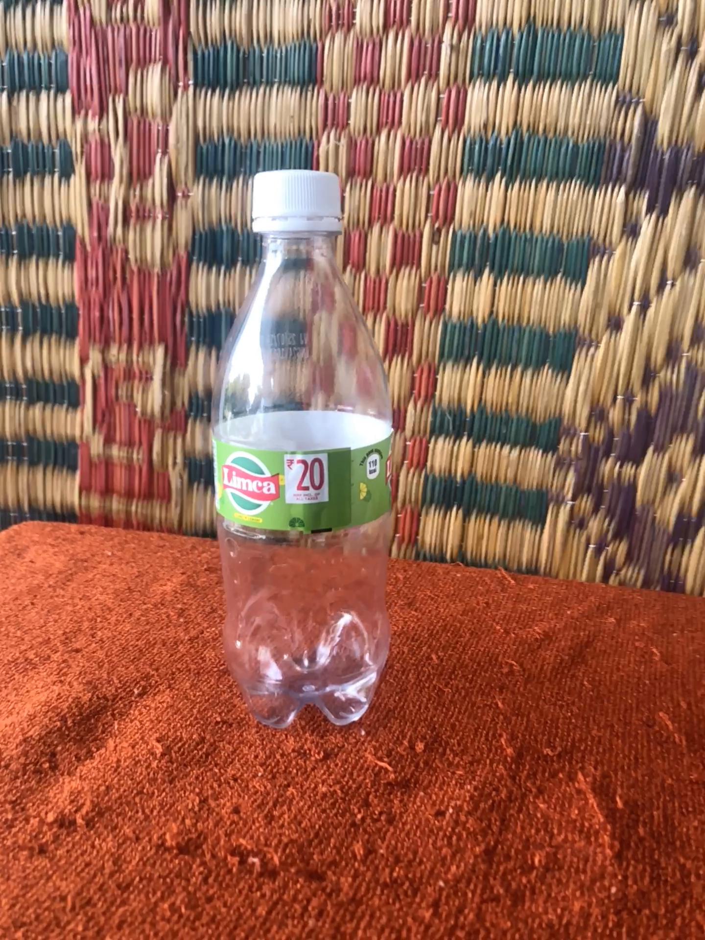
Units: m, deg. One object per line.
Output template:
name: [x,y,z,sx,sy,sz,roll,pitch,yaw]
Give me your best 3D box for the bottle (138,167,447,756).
bottle: [-0.014,-0.006,0.228,0.060,0.149,0.060,1,18,0]
